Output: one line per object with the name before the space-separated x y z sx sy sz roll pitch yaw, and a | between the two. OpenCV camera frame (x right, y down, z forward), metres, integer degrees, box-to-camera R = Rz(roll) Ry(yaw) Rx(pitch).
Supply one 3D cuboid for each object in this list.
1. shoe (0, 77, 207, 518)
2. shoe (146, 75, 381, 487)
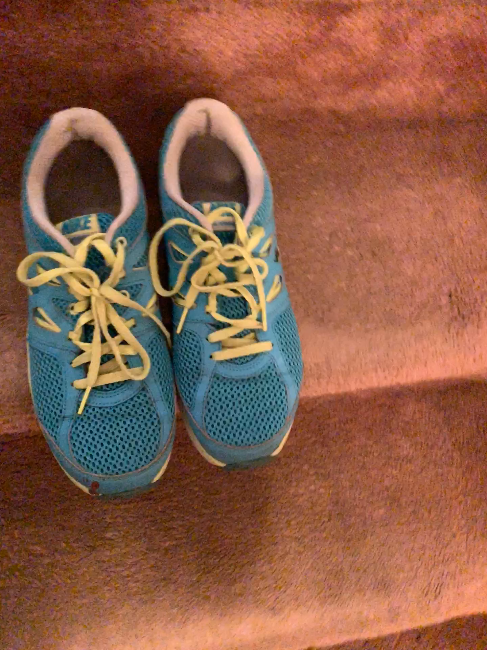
shoe | -0.108 -0.026 0.349 0.110 0.099 0.281 -7 69 -12
shoe | -0.004 -0.038 0.370 0.110 0.099 0.281 -5 68 -11
